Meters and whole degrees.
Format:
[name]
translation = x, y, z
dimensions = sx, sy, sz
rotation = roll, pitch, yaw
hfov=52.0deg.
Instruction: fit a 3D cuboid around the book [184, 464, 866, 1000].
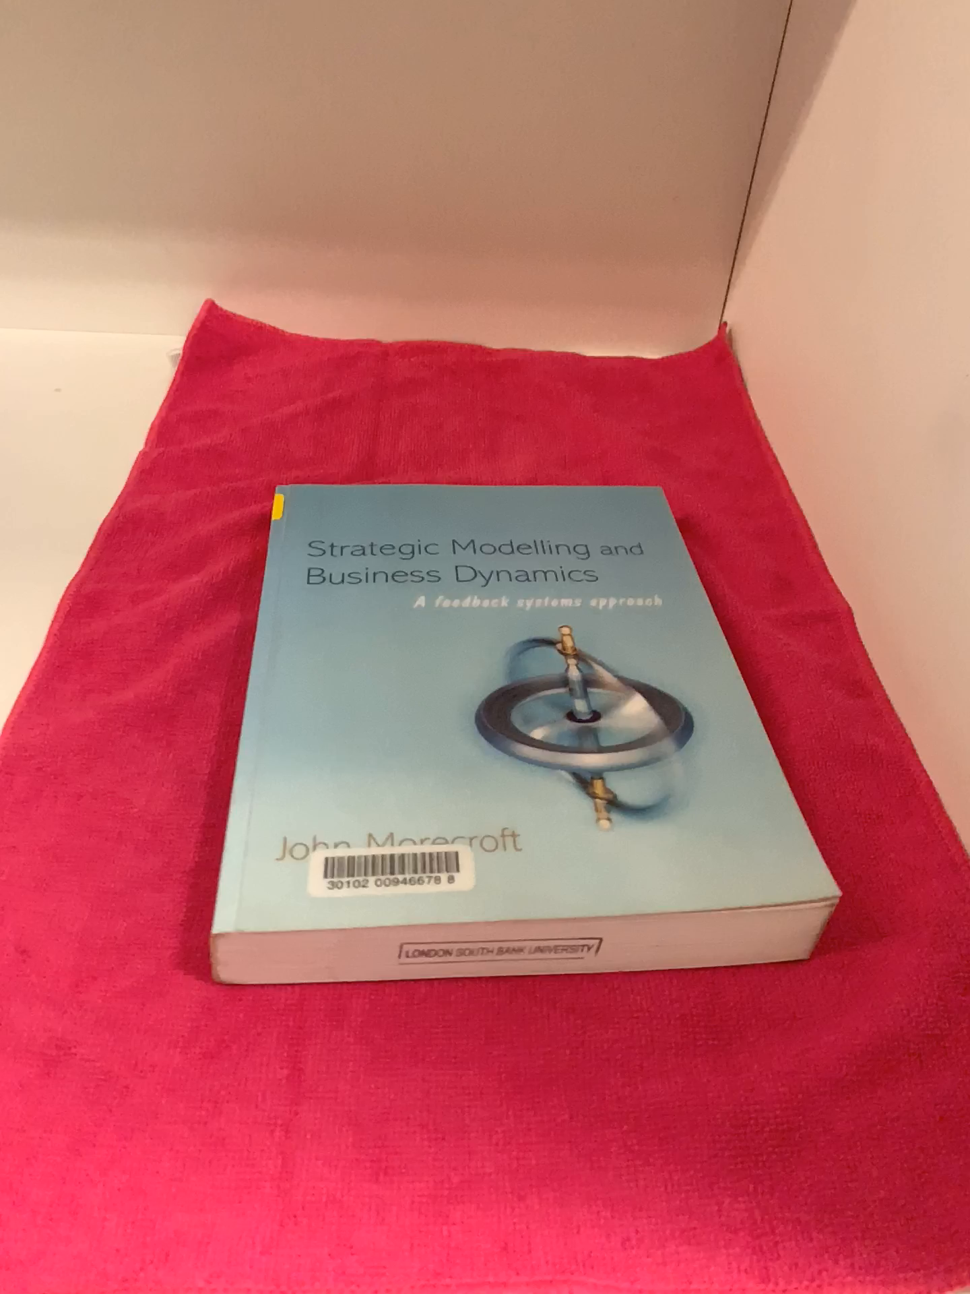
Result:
[book]
translation = 0.003, 0.008, 0.385
dimensions = 0.193, 0.033, 0.253
rotation = -1, 40, -6
